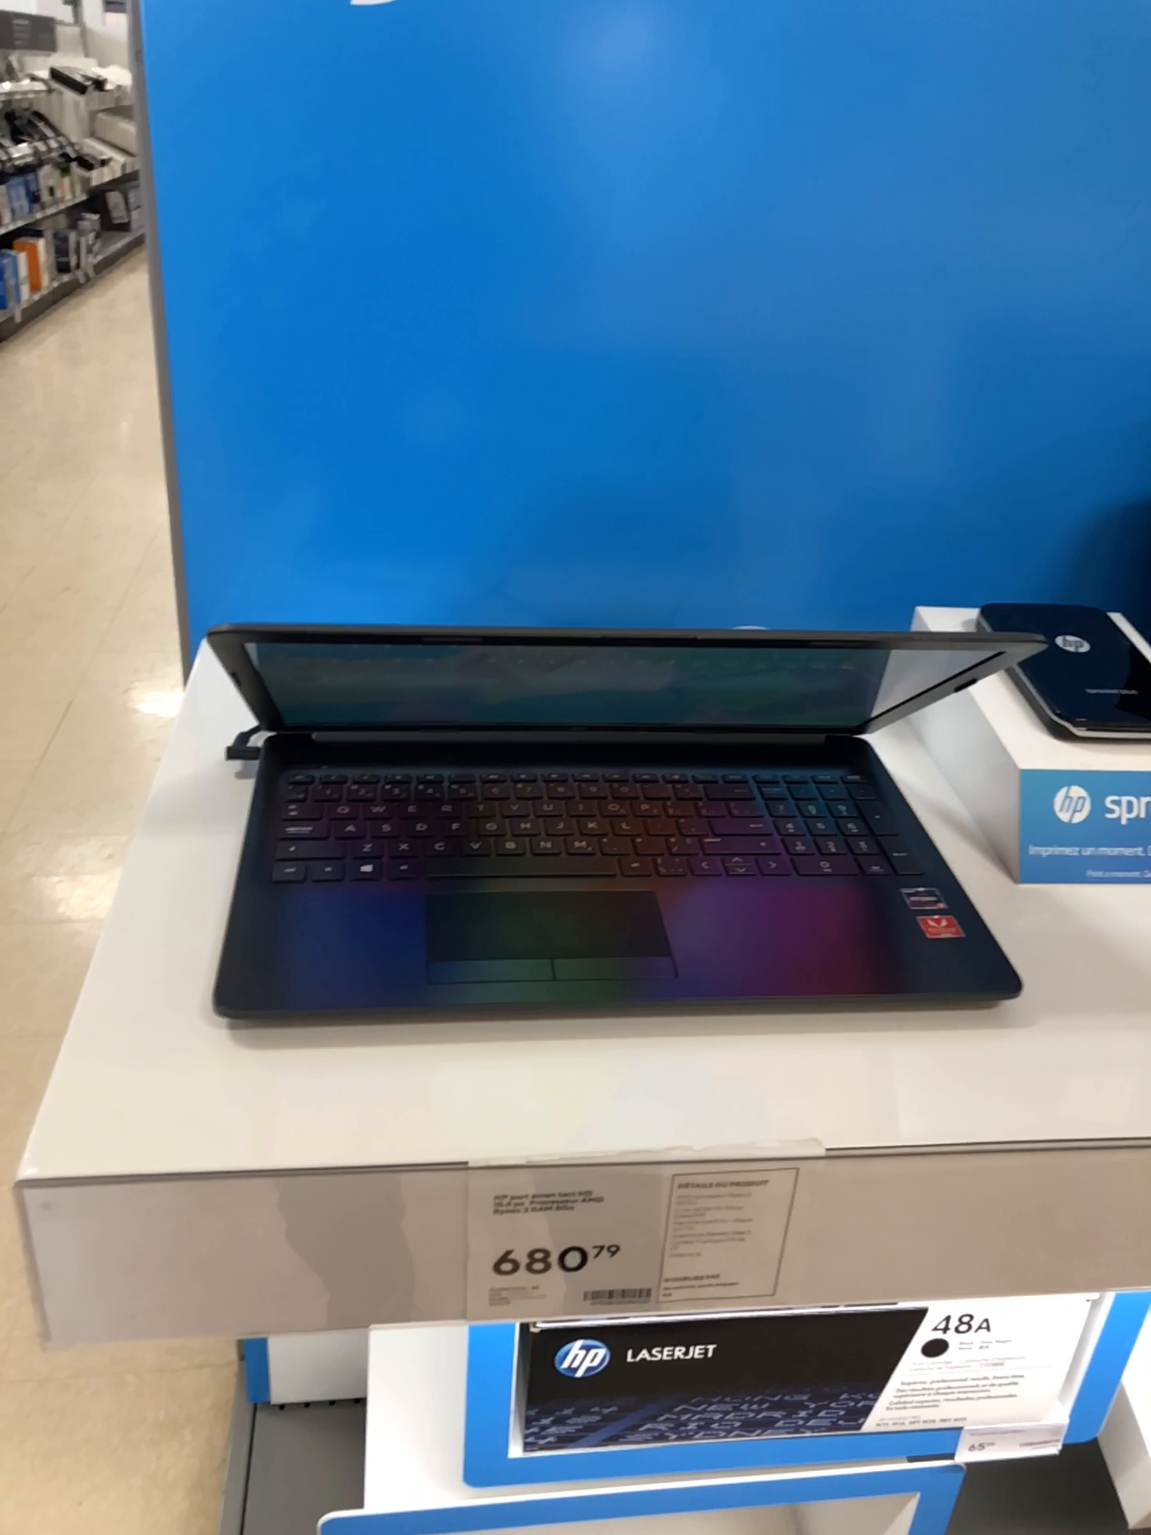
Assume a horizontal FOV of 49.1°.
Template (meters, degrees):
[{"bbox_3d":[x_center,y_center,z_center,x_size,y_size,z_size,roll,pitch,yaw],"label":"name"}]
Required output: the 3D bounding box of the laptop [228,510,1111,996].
[{"bbox_3d":[0.027,-0.018,0.626,0.355,0.130,0.243,1,28,-10],"label":"laptop"}]
